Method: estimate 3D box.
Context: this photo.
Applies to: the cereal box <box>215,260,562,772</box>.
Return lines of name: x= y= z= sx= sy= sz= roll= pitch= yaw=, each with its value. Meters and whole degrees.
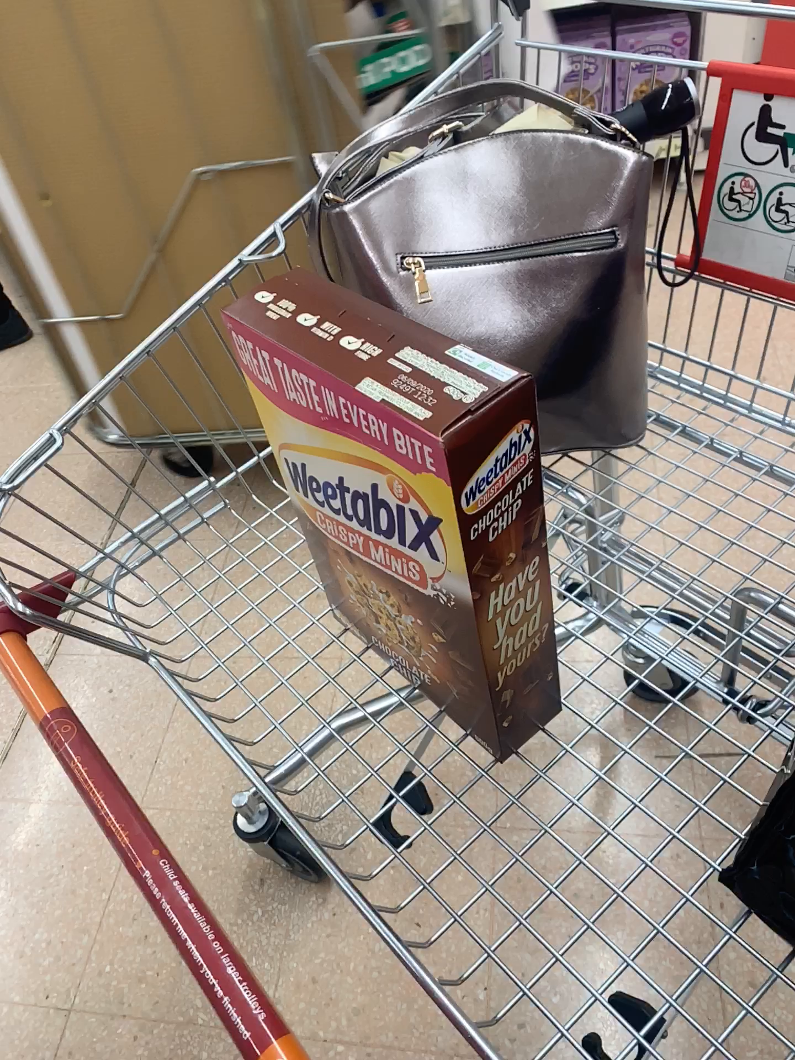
cereal box: x=0.006 y=0.001 z=0.498 sx=0.060 sy=0.277 sz=0.191 roll=-37 pitch=50 yaw=-22
